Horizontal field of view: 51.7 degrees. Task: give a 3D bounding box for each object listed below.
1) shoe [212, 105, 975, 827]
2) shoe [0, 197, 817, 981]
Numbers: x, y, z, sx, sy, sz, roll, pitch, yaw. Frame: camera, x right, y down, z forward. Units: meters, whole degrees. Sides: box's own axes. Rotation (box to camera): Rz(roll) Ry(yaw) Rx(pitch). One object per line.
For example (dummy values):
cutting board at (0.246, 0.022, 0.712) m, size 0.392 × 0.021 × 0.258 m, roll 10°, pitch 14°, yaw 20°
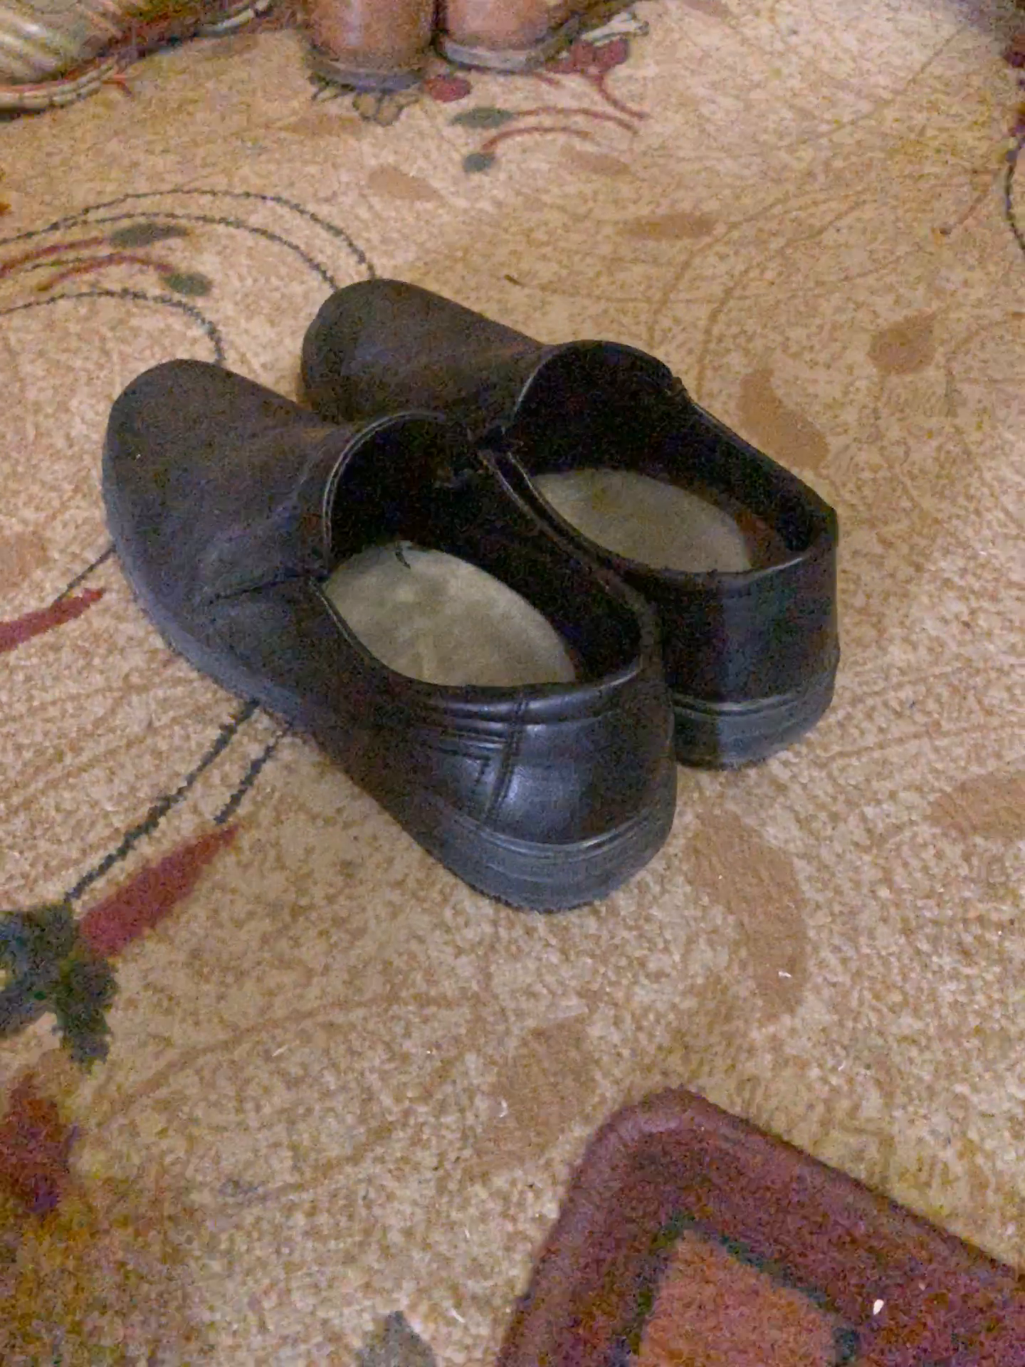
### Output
shoe at (0.008, -0.099, 0.402) m, size 0.100 × 0.099 × 0.291 m, roll -30°, pitch 59°, yaw -22°
shoe at (-0.059, -0.048, 0.363) m, size 0.291 × 0.099 × 0.100 m, roll 36°, pitch 60°, yaw 23°
